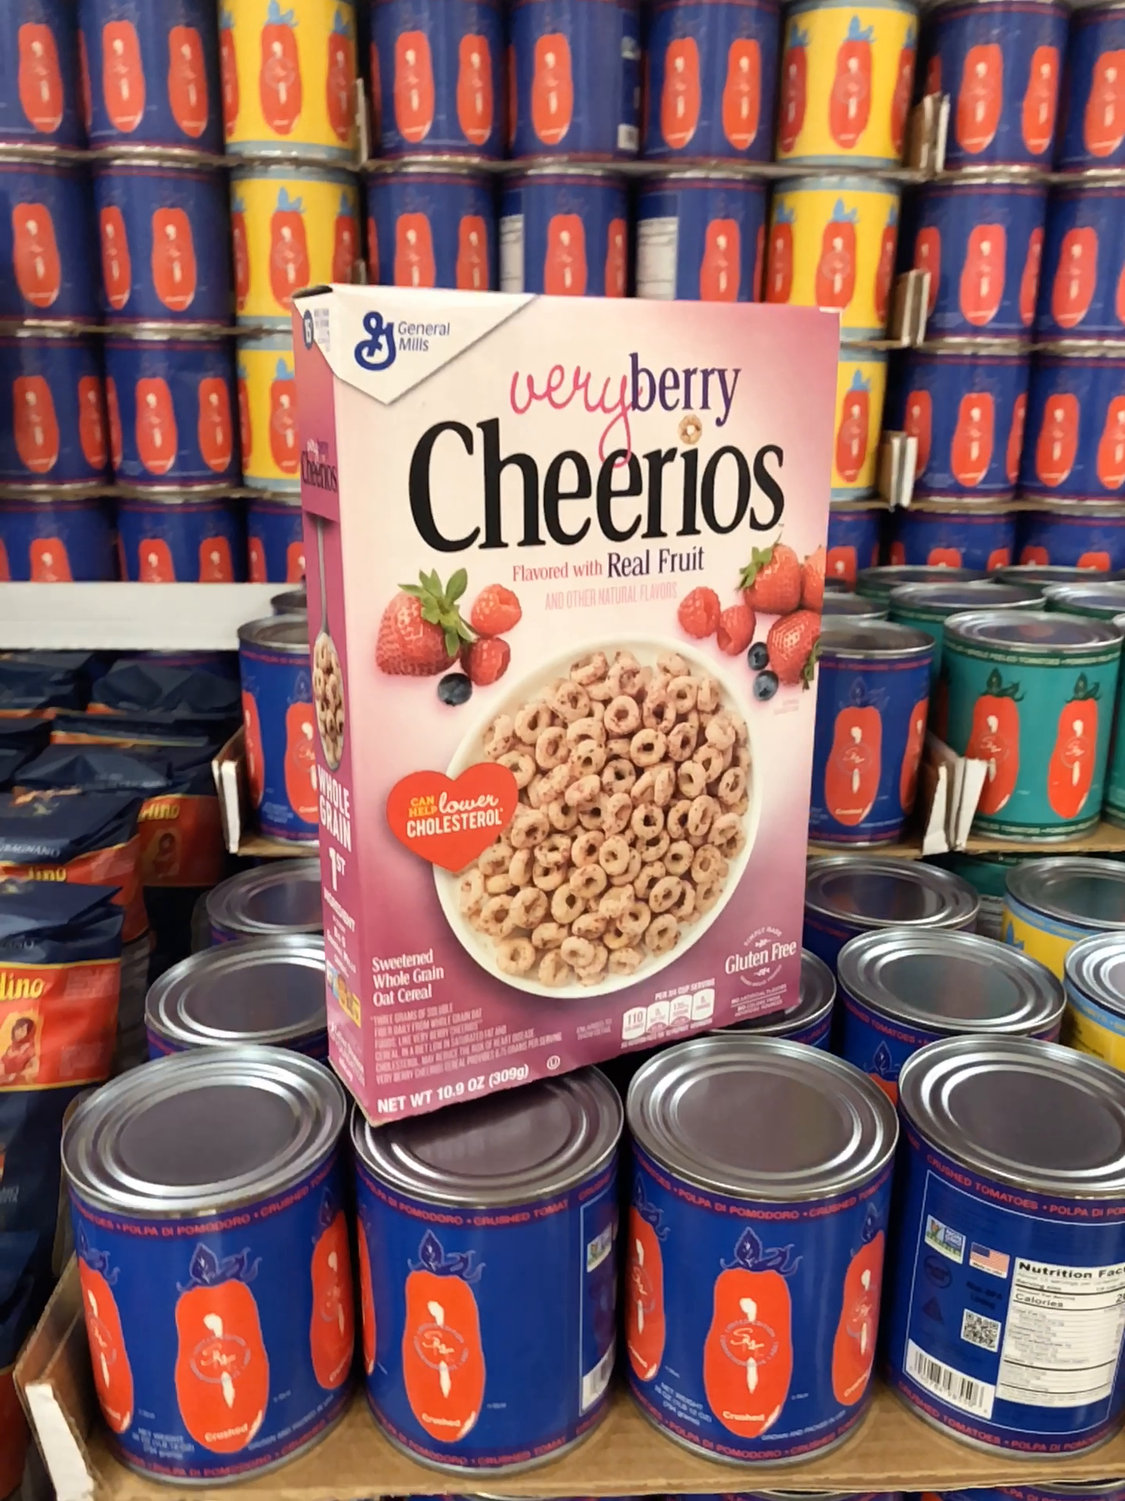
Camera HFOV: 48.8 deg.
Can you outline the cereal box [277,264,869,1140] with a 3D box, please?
[{"bbox_3d":[0.007,-0.023,0.468,0.200,0.288,0.060,-8,19,-28],"label":"cereal box"}]
